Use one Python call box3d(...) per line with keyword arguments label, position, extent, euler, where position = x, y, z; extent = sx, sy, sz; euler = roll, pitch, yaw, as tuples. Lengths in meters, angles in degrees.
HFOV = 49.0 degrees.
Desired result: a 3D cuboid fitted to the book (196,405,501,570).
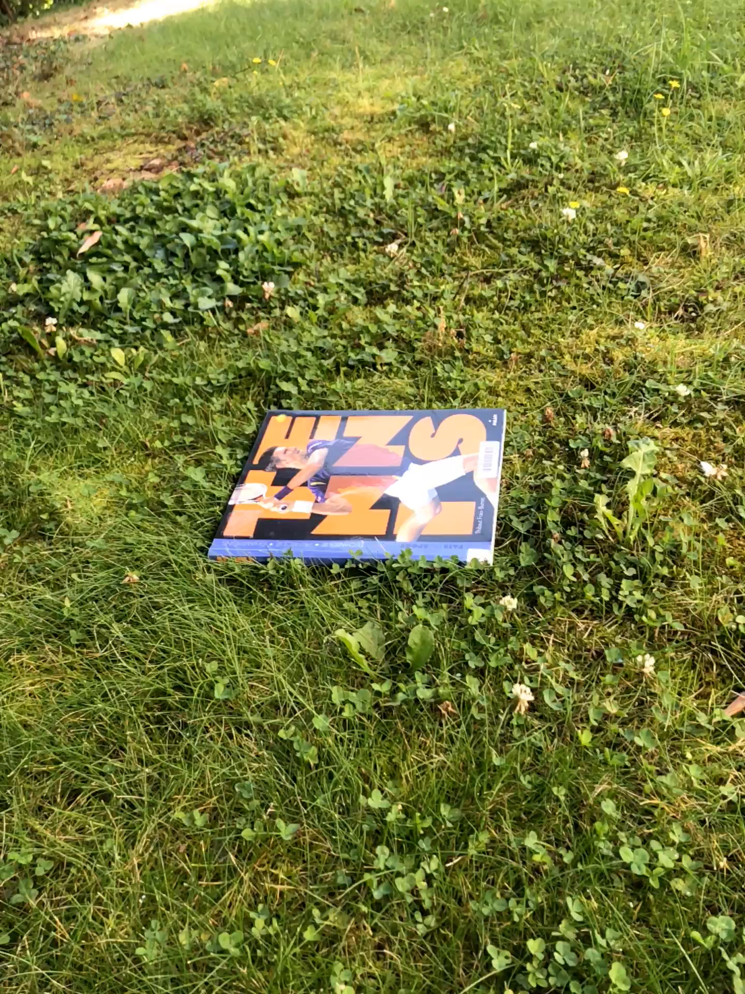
box3d(label="book", position=(-0.012, -0.014, 0.730), extent=(0.240, 0.016, 0.199), euler=(0, 41, 13))
